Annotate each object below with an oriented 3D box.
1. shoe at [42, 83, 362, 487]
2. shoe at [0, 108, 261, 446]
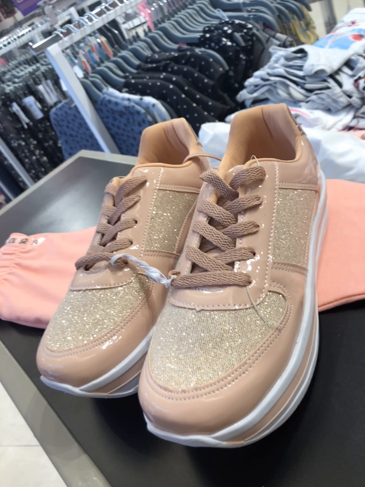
[{"bbox_3d":[0.038,0.008,0.241,0.090,0.089,0.221,-2,43,34],"label":"shoe"},{"bbox_3d":[-0.028,0.008,0.304,0.090,0.099,0.221,-2,43,34],"label":"shoe"}]
